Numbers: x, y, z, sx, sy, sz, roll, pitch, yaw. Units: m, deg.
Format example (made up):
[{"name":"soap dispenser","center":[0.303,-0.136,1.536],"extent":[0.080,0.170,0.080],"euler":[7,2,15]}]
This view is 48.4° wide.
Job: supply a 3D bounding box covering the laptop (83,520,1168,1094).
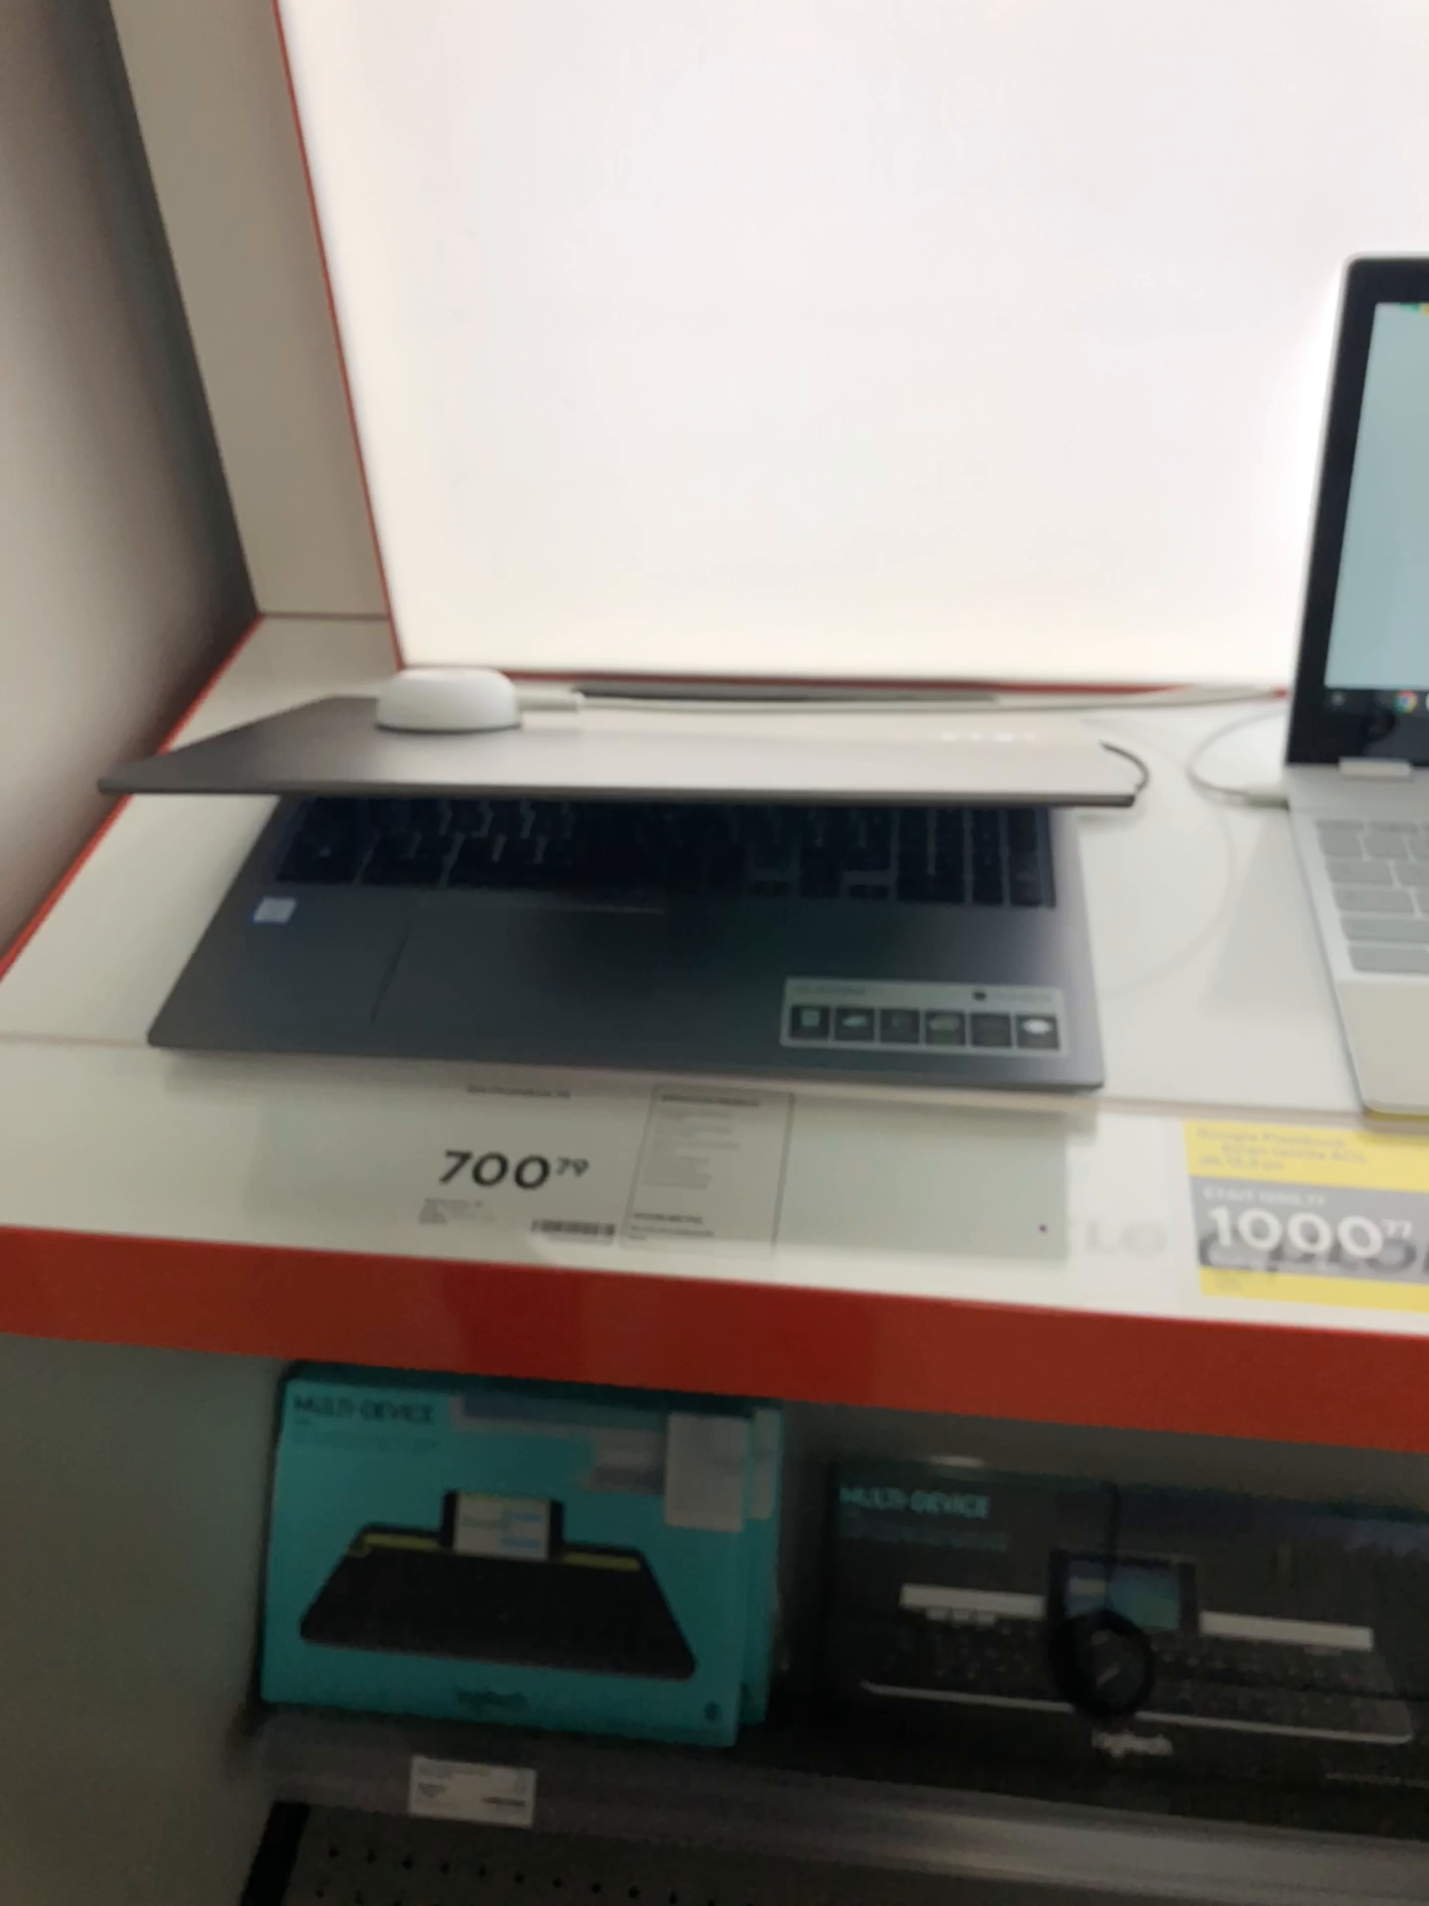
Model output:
[{"name":"laptop","center":[-0.021,-0.073,0.639],"extent":[0.356,0.105,0.237],"euler":[3,39,6]}]
